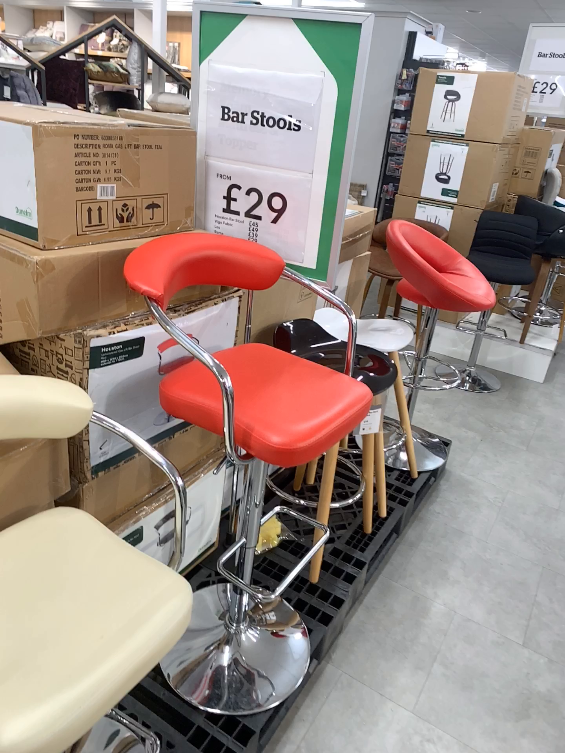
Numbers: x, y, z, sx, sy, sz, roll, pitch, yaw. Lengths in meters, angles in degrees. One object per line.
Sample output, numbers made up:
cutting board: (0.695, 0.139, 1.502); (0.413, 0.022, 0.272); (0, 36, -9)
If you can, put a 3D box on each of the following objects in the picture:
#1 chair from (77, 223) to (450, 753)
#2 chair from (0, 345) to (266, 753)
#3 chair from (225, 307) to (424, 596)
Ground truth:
chair: (-0.058, 0.222, 1.314); (0.530, 0.978, 0.528); (19, 27, 25)
chair: (-0.392, 0.469, 0.967); (0.459, 0.839, 0.498); (19, 27, 25)
chair: (0.123, 0.213, 1.842); (0.389, 0.710, 0.428); (20, 27, 26)
